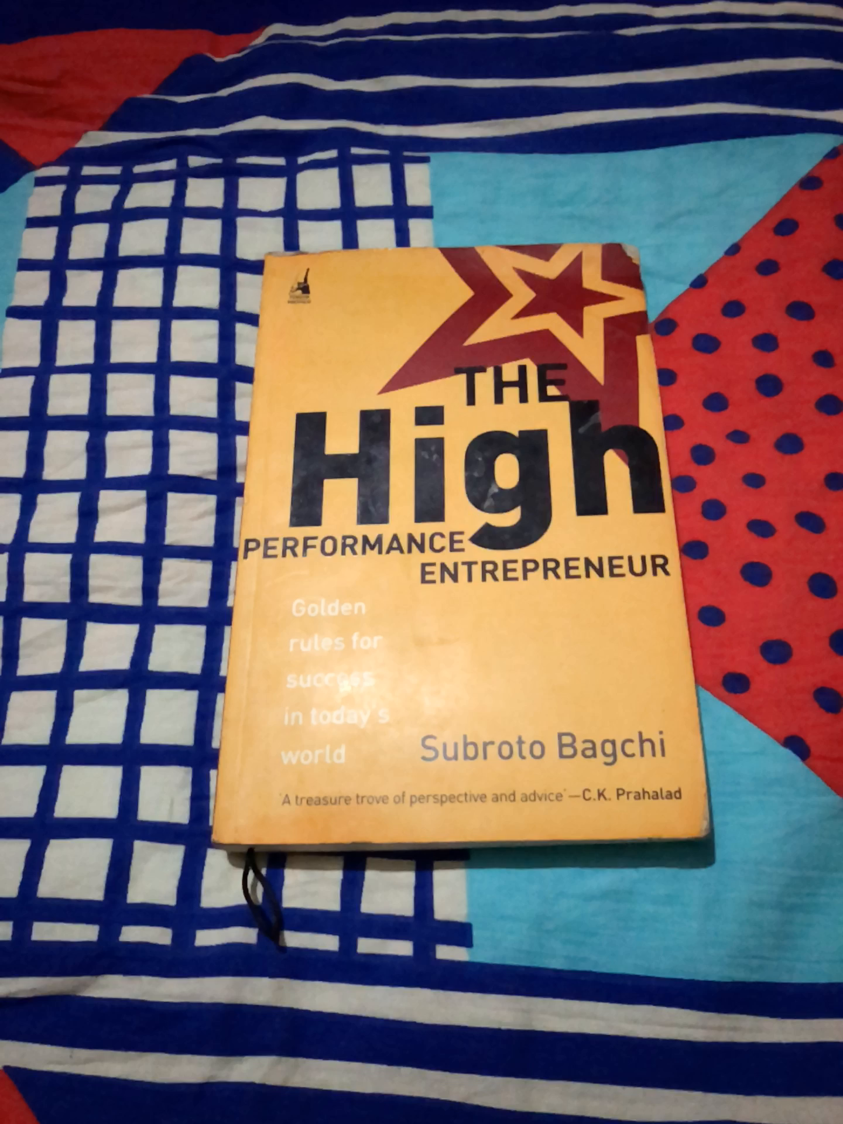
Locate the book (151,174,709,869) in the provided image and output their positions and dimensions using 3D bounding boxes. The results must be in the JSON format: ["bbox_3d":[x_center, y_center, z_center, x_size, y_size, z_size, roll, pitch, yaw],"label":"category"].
[{"bbox_3d":[0.002,-0.024,0.306,0.140,0.040,0.230,-2,63,3],"label":"book"}]
